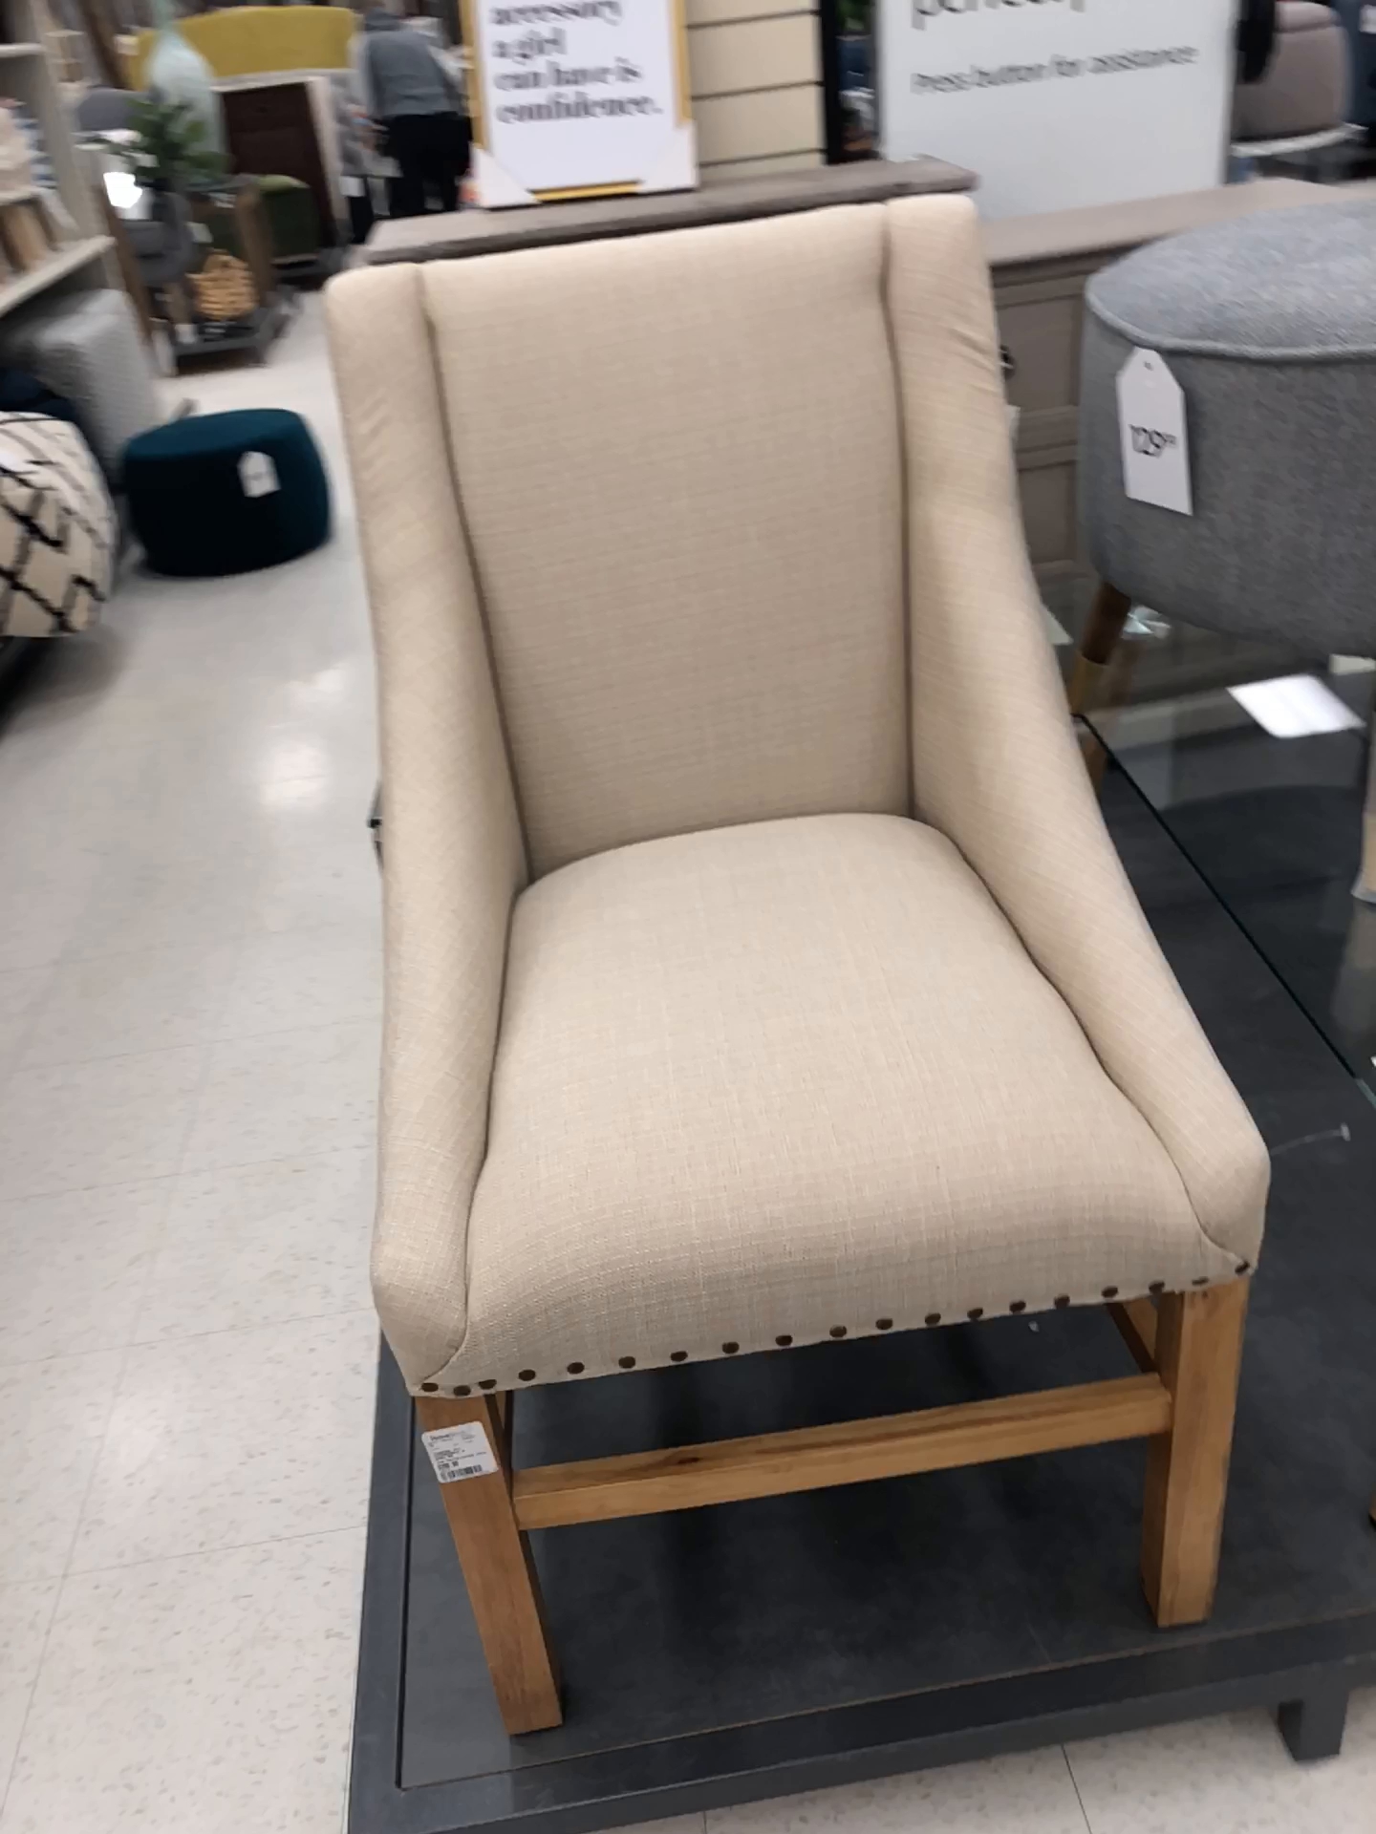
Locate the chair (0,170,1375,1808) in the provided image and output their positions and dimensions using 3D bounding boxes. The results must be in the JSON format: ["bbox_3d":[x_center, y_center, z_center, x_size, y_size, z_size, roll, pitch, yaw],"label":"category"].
[{"bbox_3d":[0.027,0.030,1.156,0.610,0.966,0.653,-9,31,-3],"label":"chair"}]
